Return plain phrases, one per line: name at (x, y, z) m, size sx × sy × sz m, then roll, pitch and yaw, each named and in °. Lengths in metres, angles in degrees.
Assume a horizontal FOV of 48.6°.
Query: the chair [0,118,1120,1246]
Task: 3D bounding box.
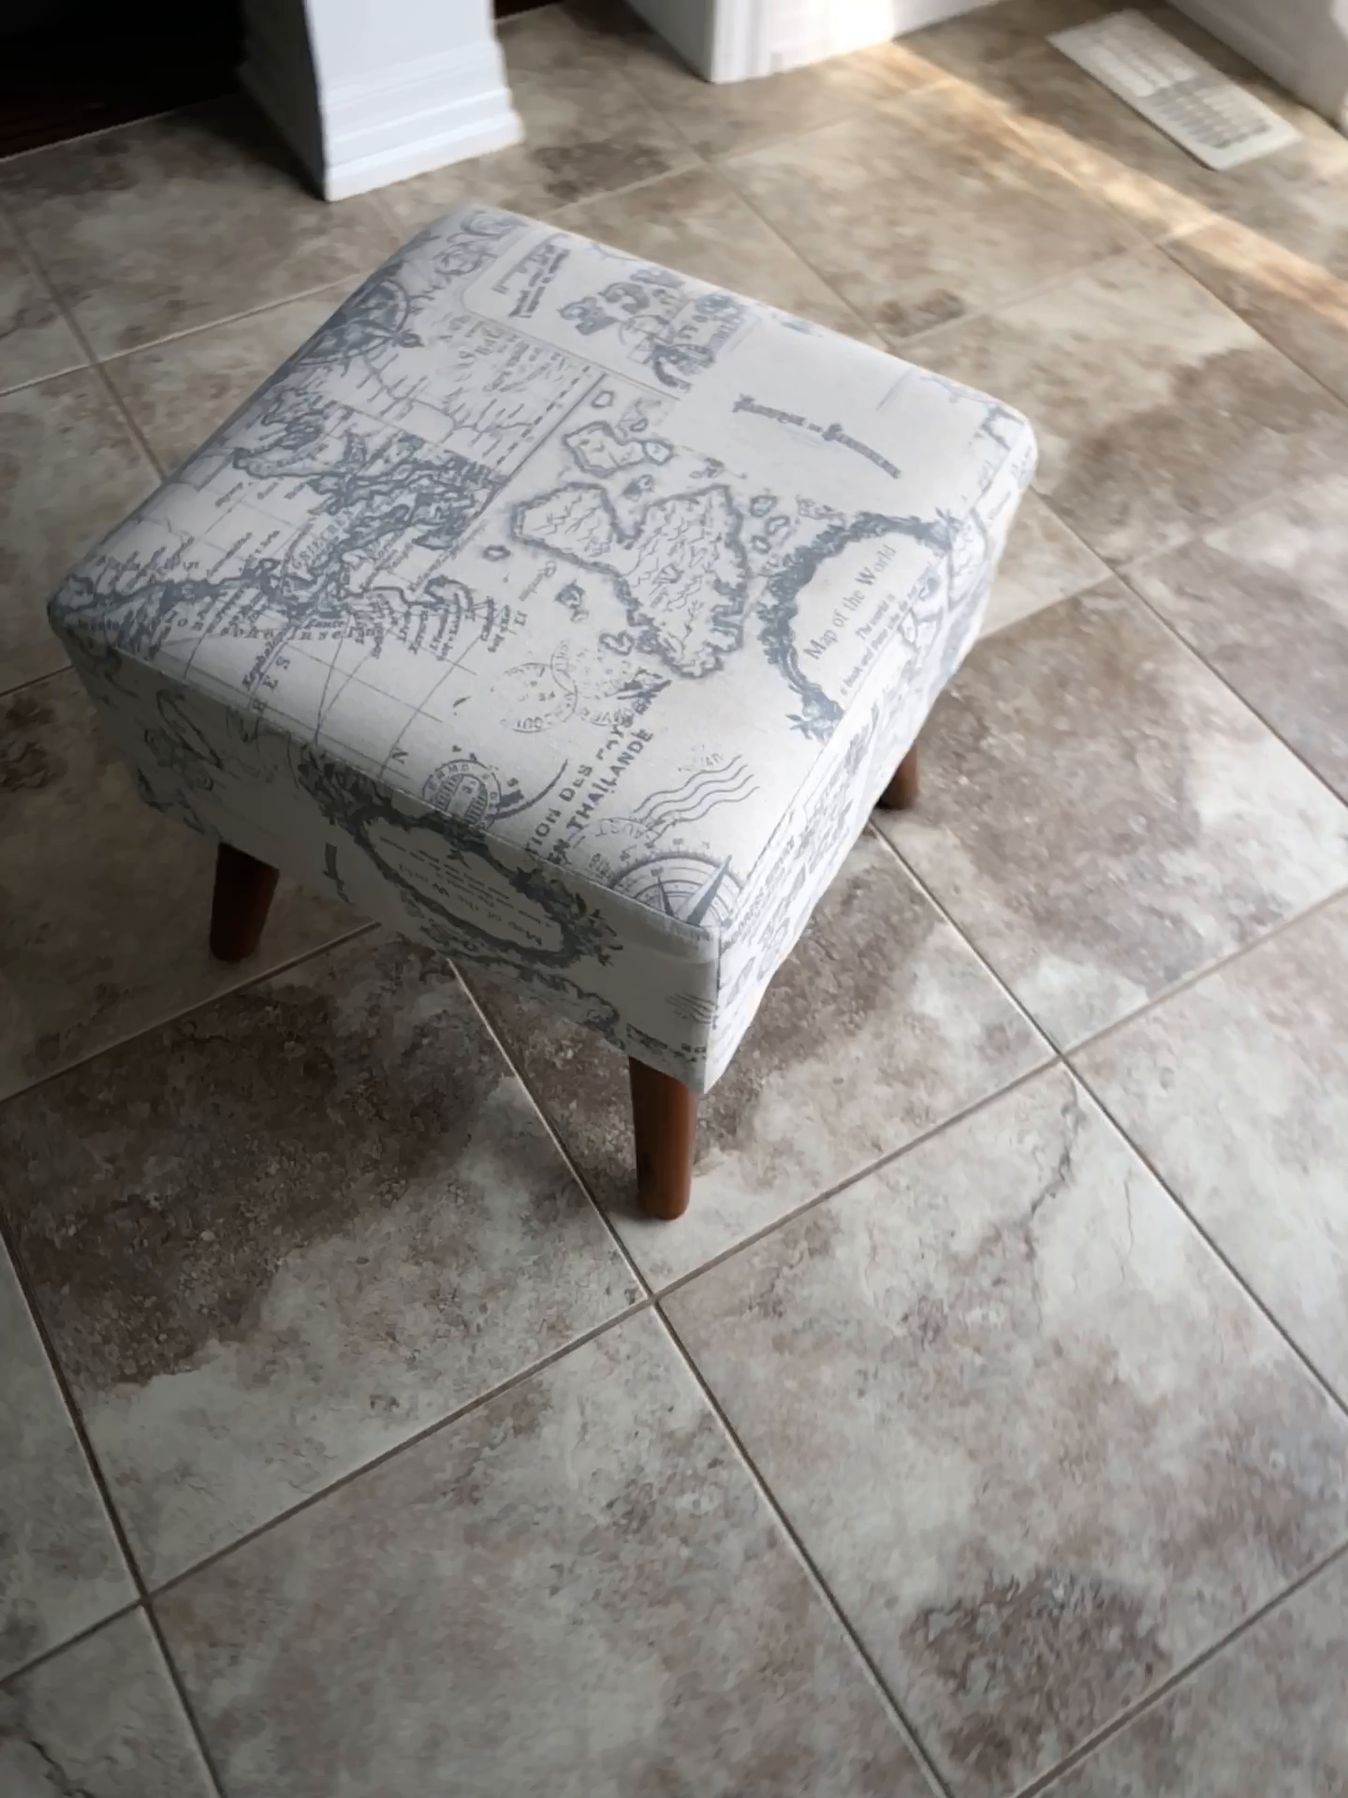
chair at (-0.073, -0.136, 0.891) m, size 0.470 × 0.320 × 0.421 m, roll 26°, pitch 61°, yaw 13°
